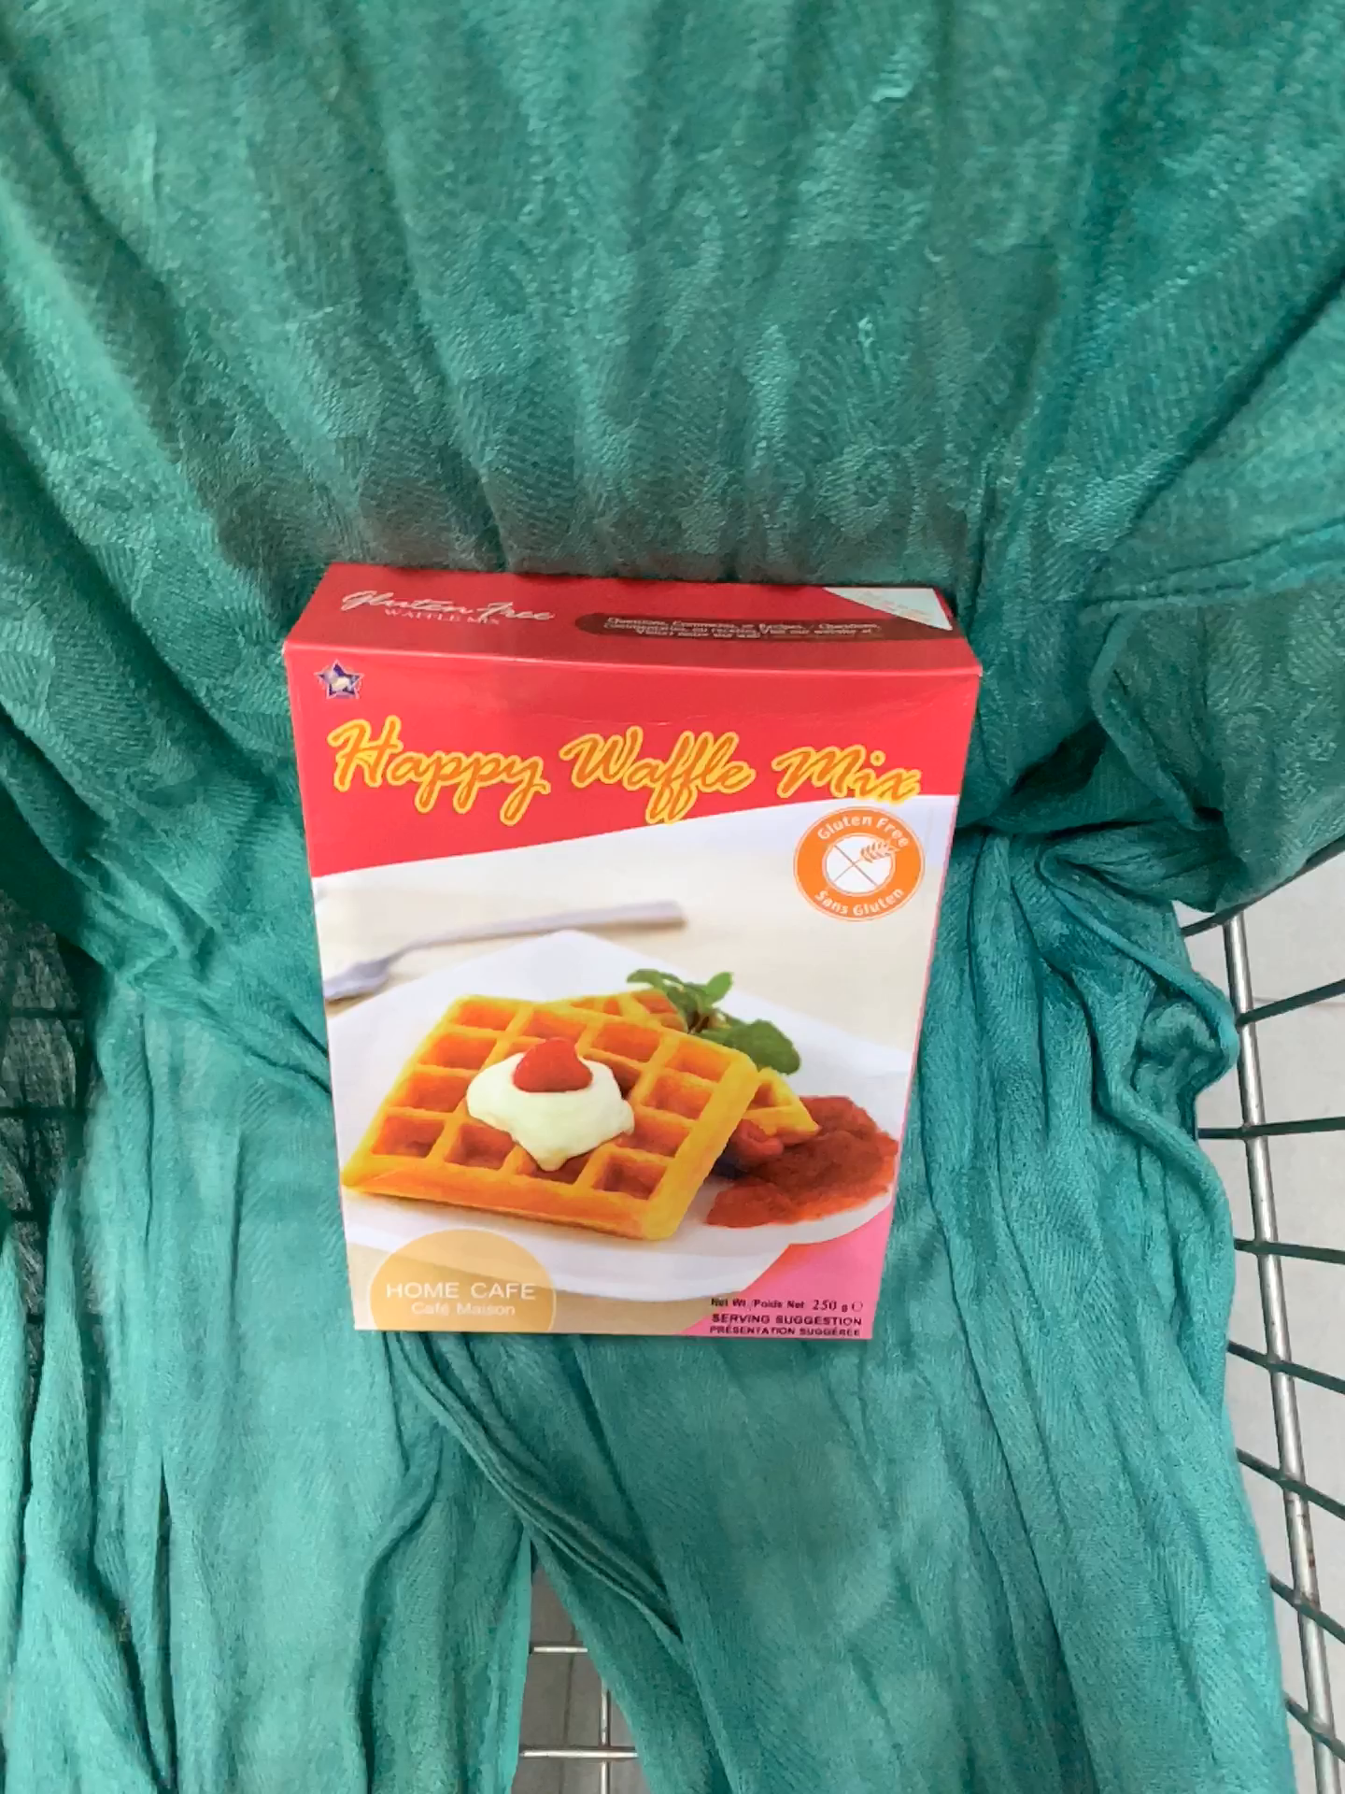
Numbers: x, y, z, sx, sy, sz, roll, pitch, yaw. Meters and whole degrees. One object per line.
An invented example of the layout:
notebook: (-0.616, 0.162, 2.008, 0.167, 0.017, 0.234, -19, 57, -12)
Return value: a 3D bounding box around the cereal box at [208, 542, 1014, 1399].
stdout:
cereal box: (-0.013, 0.024, 0.293, 0.130, 0.180, 0.050, 3, 33, -1)
